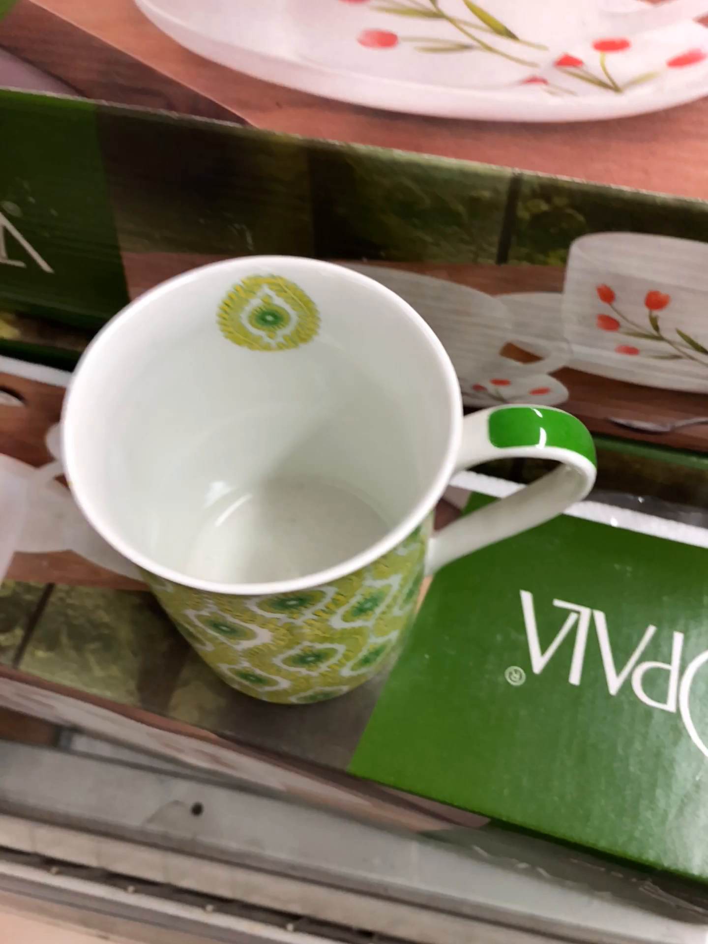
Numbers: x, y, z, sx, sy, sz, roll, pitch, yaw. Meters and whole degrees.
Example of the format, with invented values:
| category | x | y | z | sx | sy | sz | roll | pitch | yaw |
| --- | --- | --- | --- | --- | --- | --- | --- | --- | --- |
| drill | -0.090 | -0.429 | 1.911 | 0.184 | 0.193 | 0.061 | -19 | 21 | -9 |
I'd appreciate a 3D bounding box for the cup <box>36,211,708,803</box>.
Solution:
| category | x | y | z | sx | sy | sz | roll | pitch | yaw |
| --- | --- | --- | --- | --- | --- | --- | --- | --- | --- |
| cup | 0.000 | 0.012 | 0.181 | 0.110 | 0.090 | 0.080 | -11 | 58 | -7 |
